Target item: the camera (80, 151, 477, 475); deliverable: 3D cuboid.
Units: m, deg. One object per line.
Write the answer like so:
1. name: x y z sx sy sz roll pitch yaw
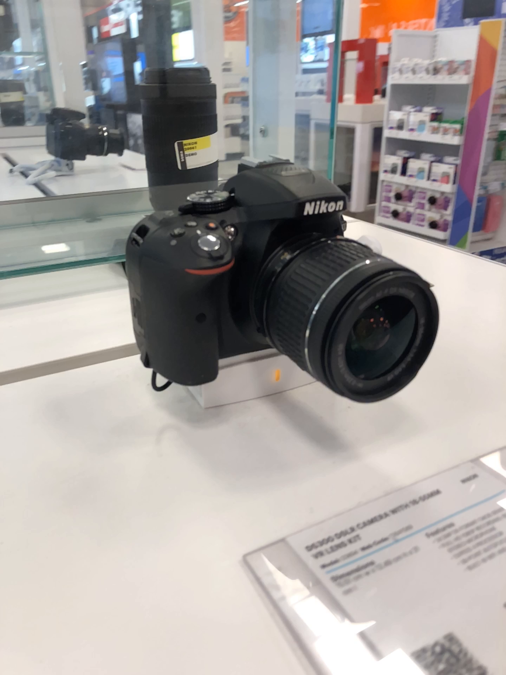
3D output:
1. camera: 0.003 -0.031 0.280 0.130 0.100 0.140 -14 26 -26
